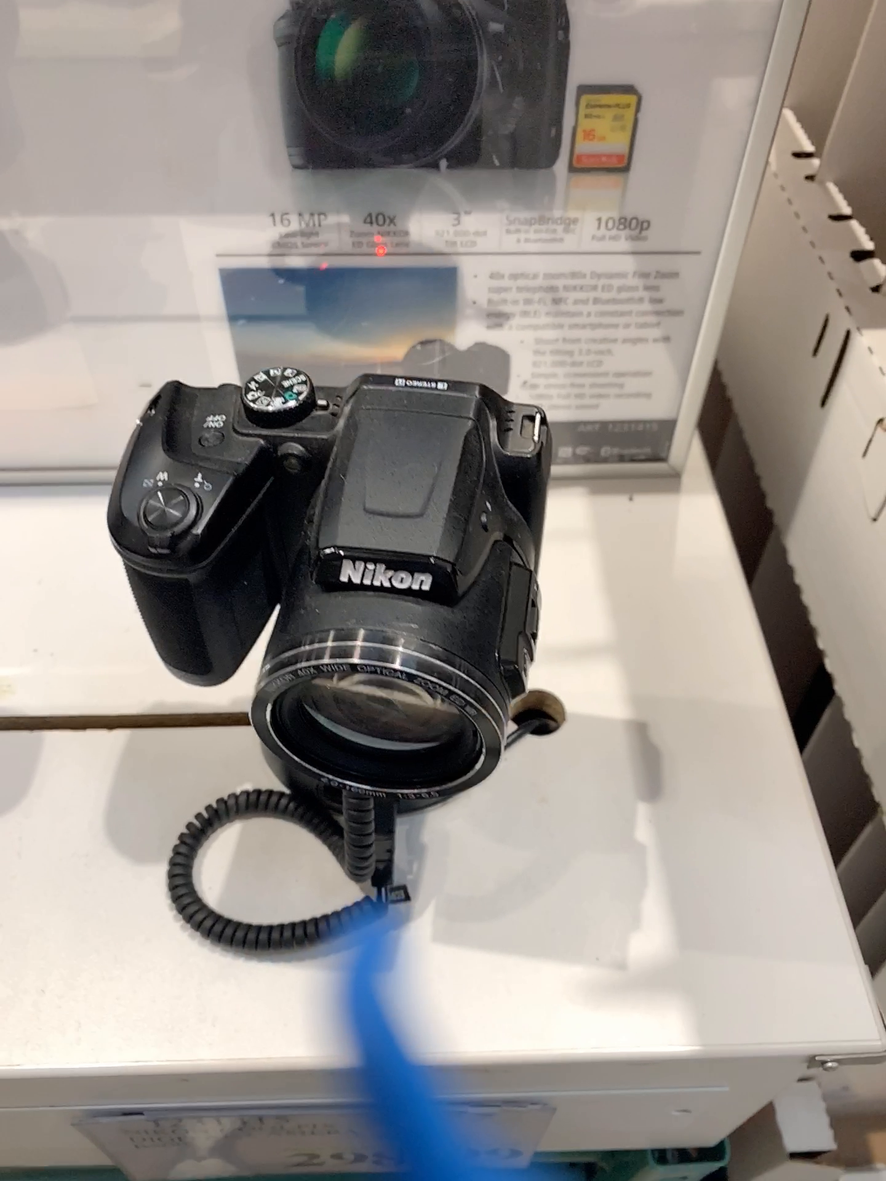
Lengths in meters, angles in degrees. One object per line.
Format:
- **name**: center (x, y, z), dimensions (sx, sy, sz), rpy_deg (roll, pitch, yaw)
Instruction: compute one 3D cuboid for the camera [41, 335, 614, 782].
- **camera**: center (-0.021, -0.005, 0.230), dimensions (0.110, 0.089, 0.060), rpy_deg (3, 49, 2)
